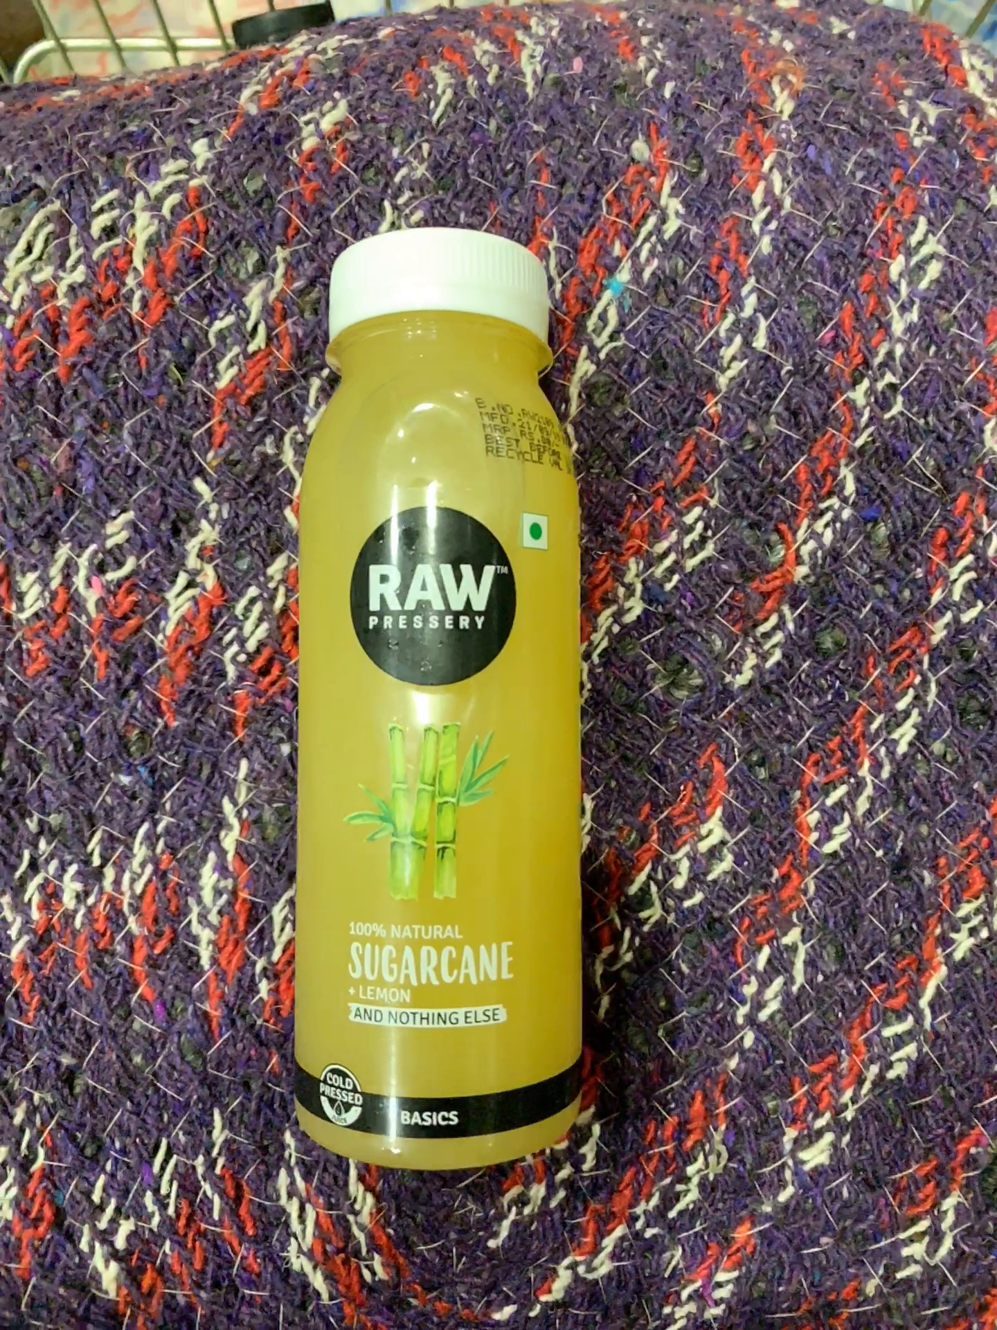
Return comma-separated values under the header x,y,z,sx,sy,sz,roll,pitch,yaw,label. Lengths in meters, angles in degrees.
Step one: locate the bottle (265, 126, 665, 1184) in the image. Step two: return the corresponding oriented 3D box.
x,y,z,sx,sy,sz,roll,pitch,yaw,label
-0.005,-0.002,0.182,0.060,0.050,0.160,0,89,2,bottle
